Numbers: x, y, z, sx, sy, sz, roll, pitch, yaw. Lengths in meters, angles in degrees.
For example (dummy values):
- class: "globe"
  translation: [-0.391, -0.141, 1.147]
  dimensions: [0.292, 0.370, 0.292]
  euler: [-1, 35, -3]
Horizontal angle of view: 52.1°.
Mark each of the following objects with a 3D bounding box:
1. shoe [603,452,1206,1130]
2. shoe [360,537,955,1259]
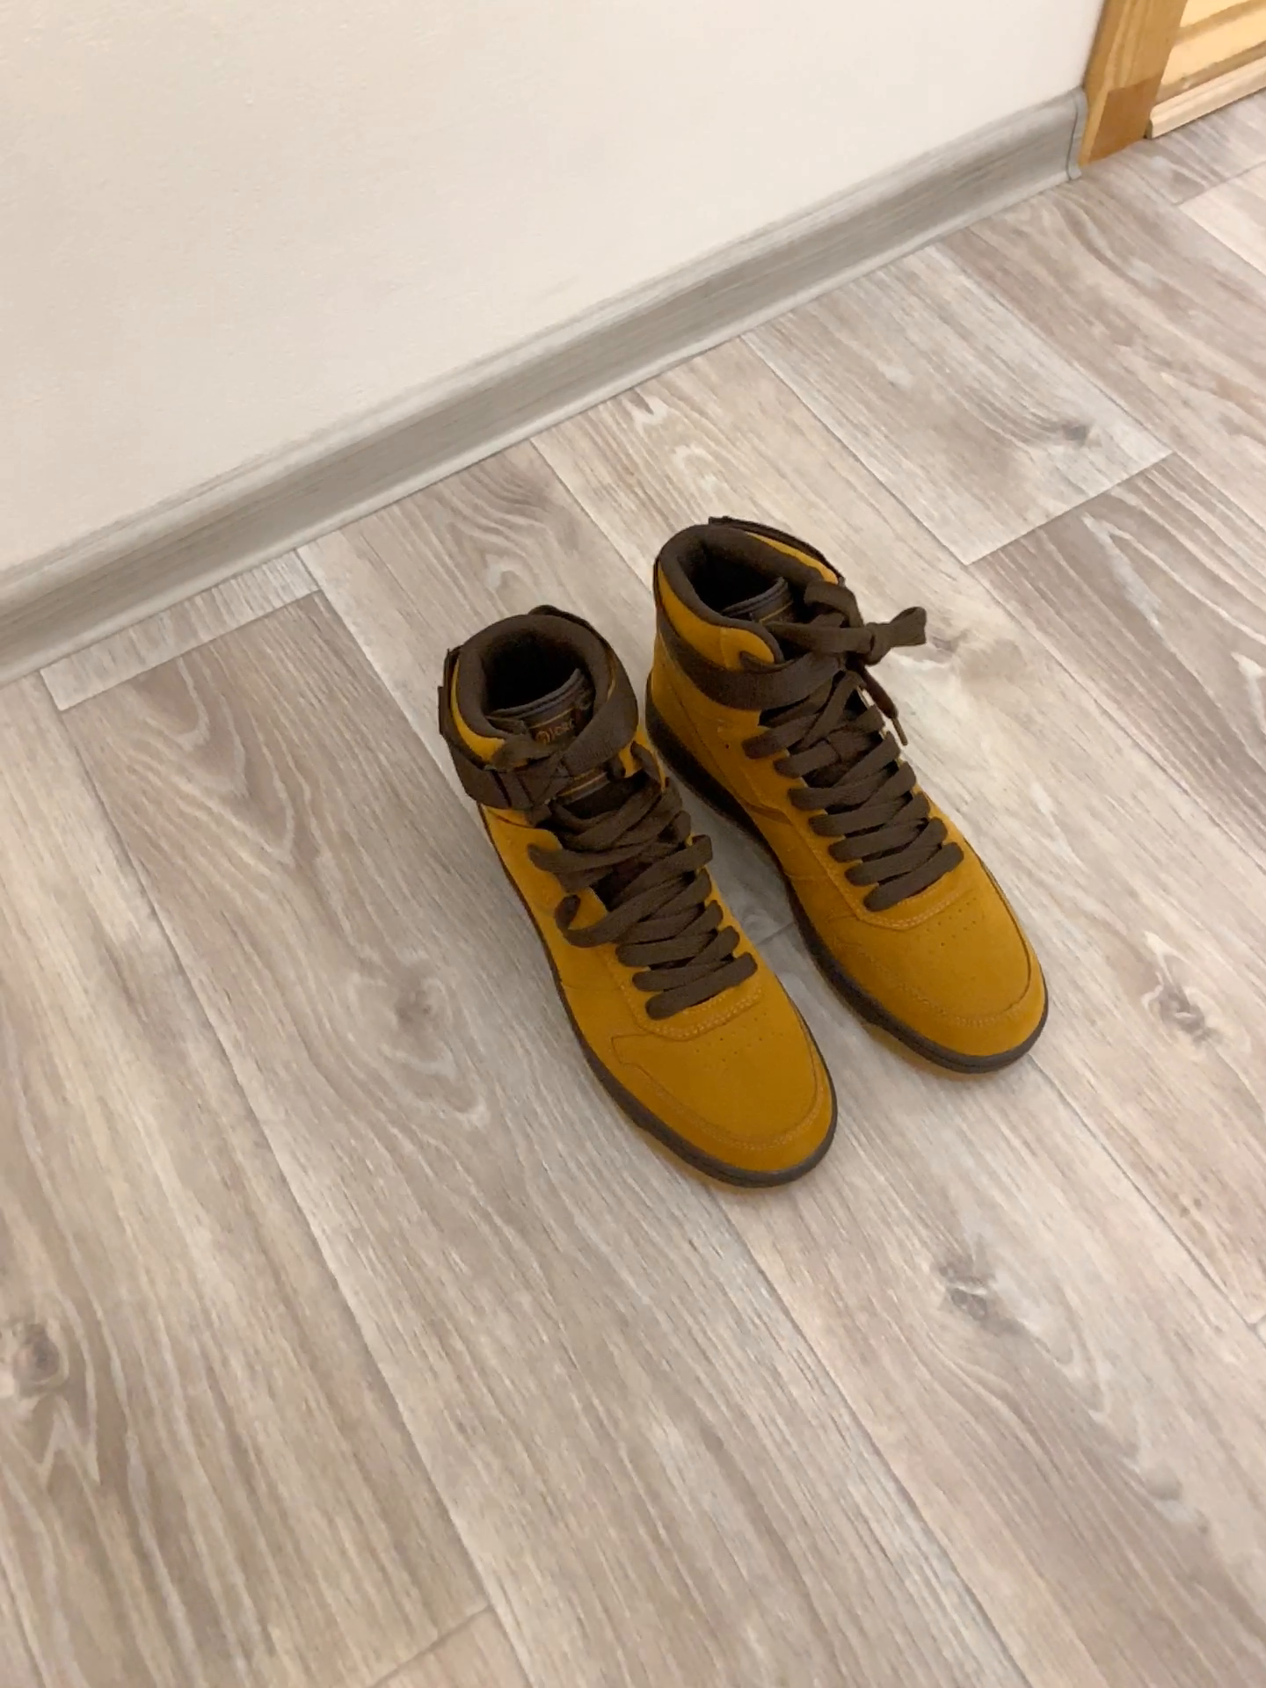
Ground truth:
- class: "shoe"
  translation: [0.106, -0.028, 0.611]
  dimensions: [0.101, 0.140, 0.280]
  euler: [-30, 64, -14]
- class: "shoe"
  translation: [0.001, 0.021, 0.577]
  dimensions: [0.101, 0.140, 0.280]
  euler: [-30, 64, -14]
